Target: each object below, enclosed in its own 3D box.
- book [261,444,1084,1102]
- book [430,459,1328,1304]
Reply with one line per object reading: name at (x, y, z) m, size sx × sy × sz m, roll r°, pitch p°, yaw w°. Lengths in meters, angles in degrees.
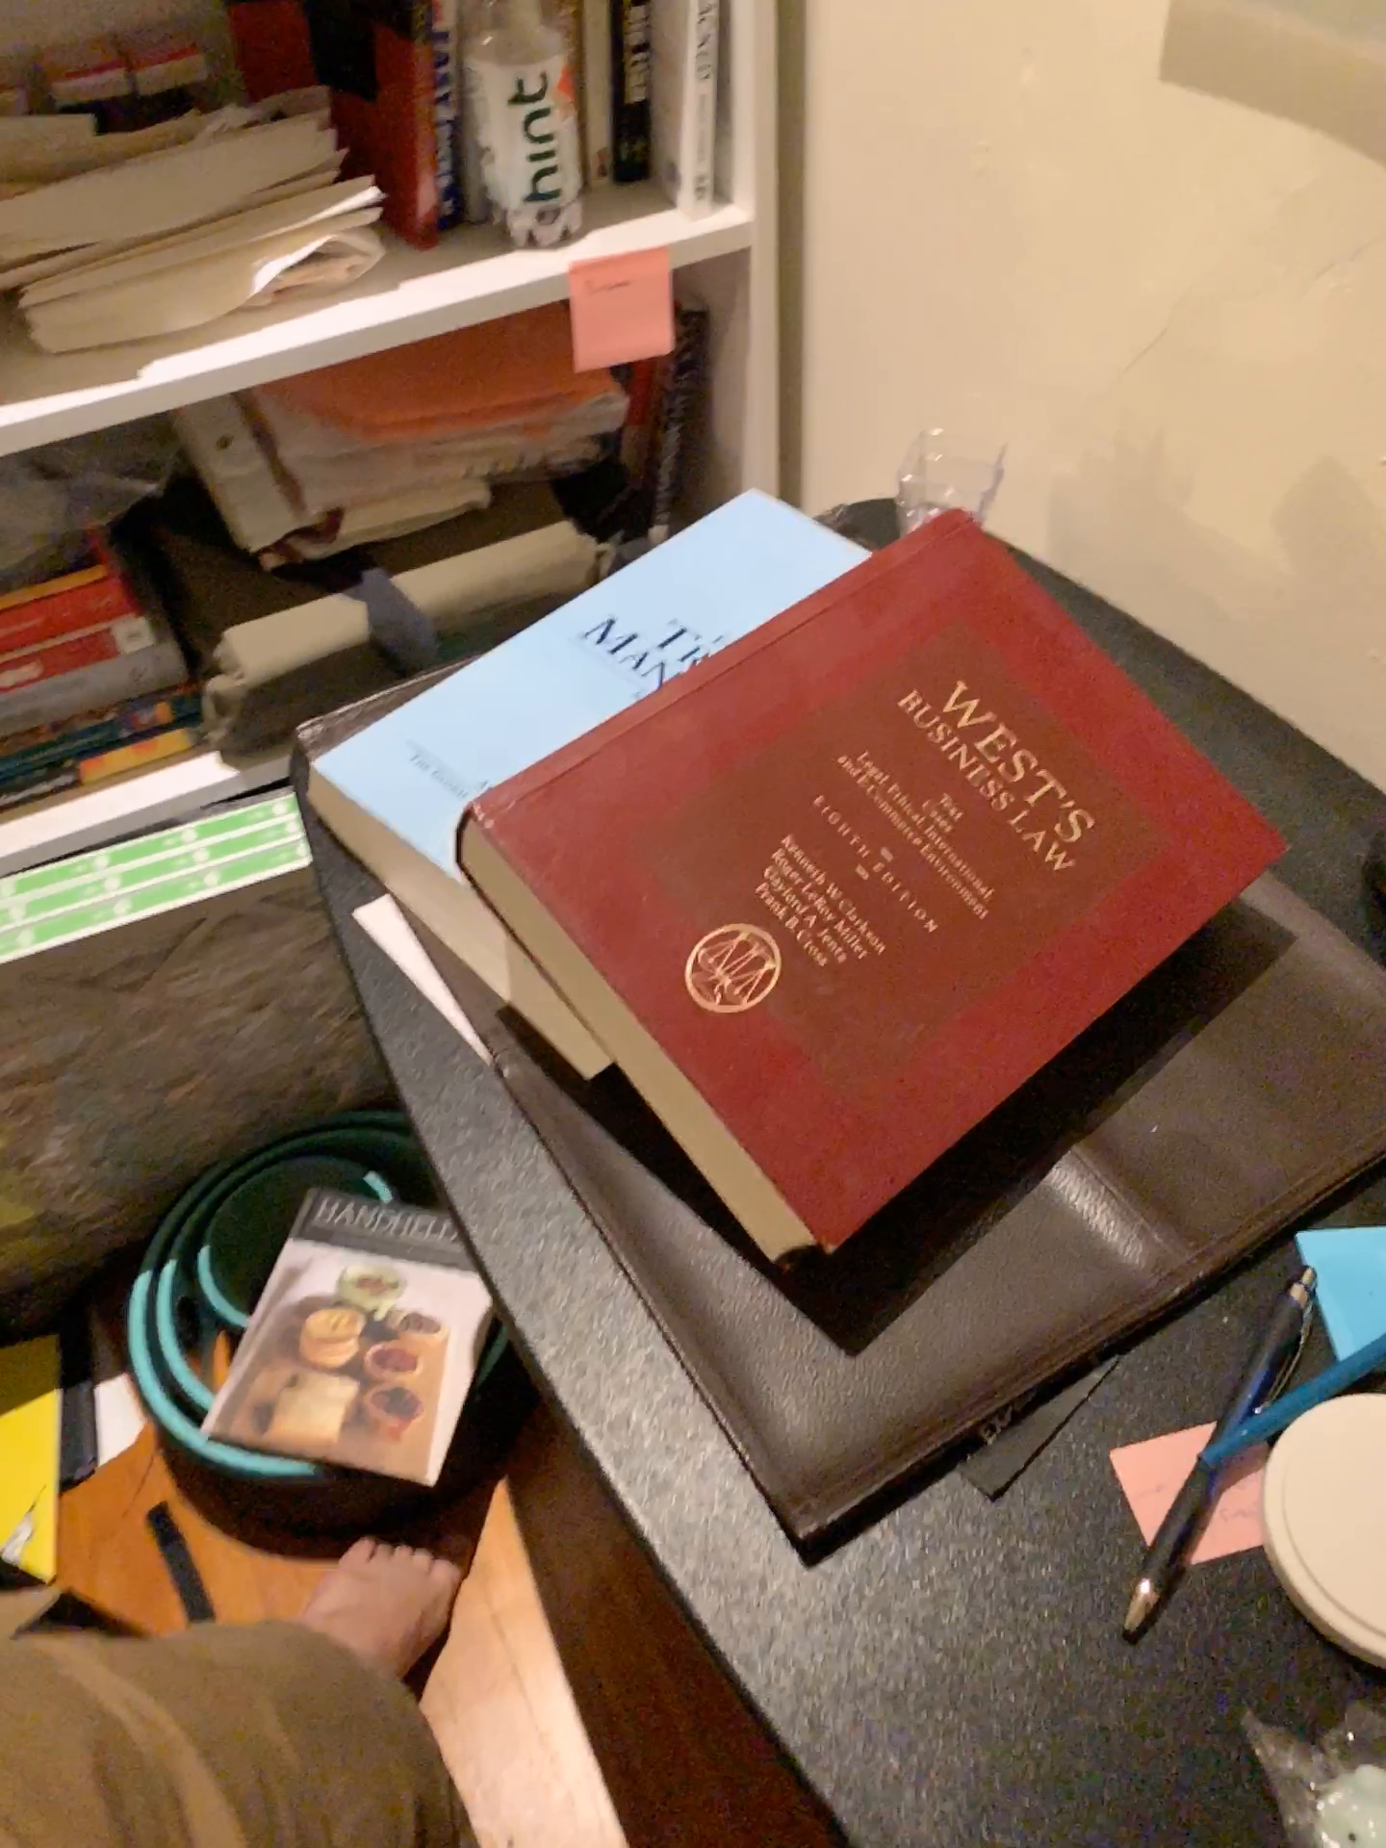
book at (-0.007, -0.087, 0.627) m, size 0.270 × 0.070 × 0.221 m, roll -35°, pitch 55°, yaw -24°
book at (0.076, -0.031, 0.538) m, size 0.270 × 0.050 × 0.210 m, roll -36°, pitch 80°, yaw -25°
